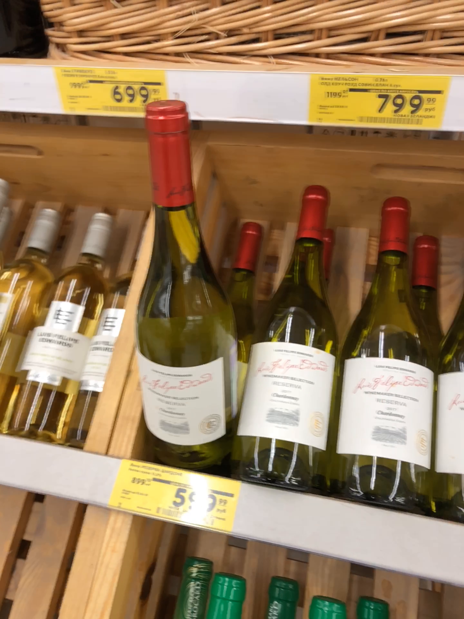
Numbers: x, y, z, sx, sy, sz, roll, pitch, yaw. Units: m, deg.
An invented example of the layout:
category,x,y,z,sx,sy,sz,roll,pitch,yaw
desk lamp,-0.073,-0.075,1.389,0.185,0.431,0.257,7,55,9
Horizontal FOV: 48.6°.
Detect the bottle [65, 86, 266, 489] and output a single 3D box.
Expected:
category,x,y,z,sx,sy,sz,roll,pitch,yaw
bottle,-0.041,-0.013,0.404,0.100,0.289,0.100,1,27,-1
